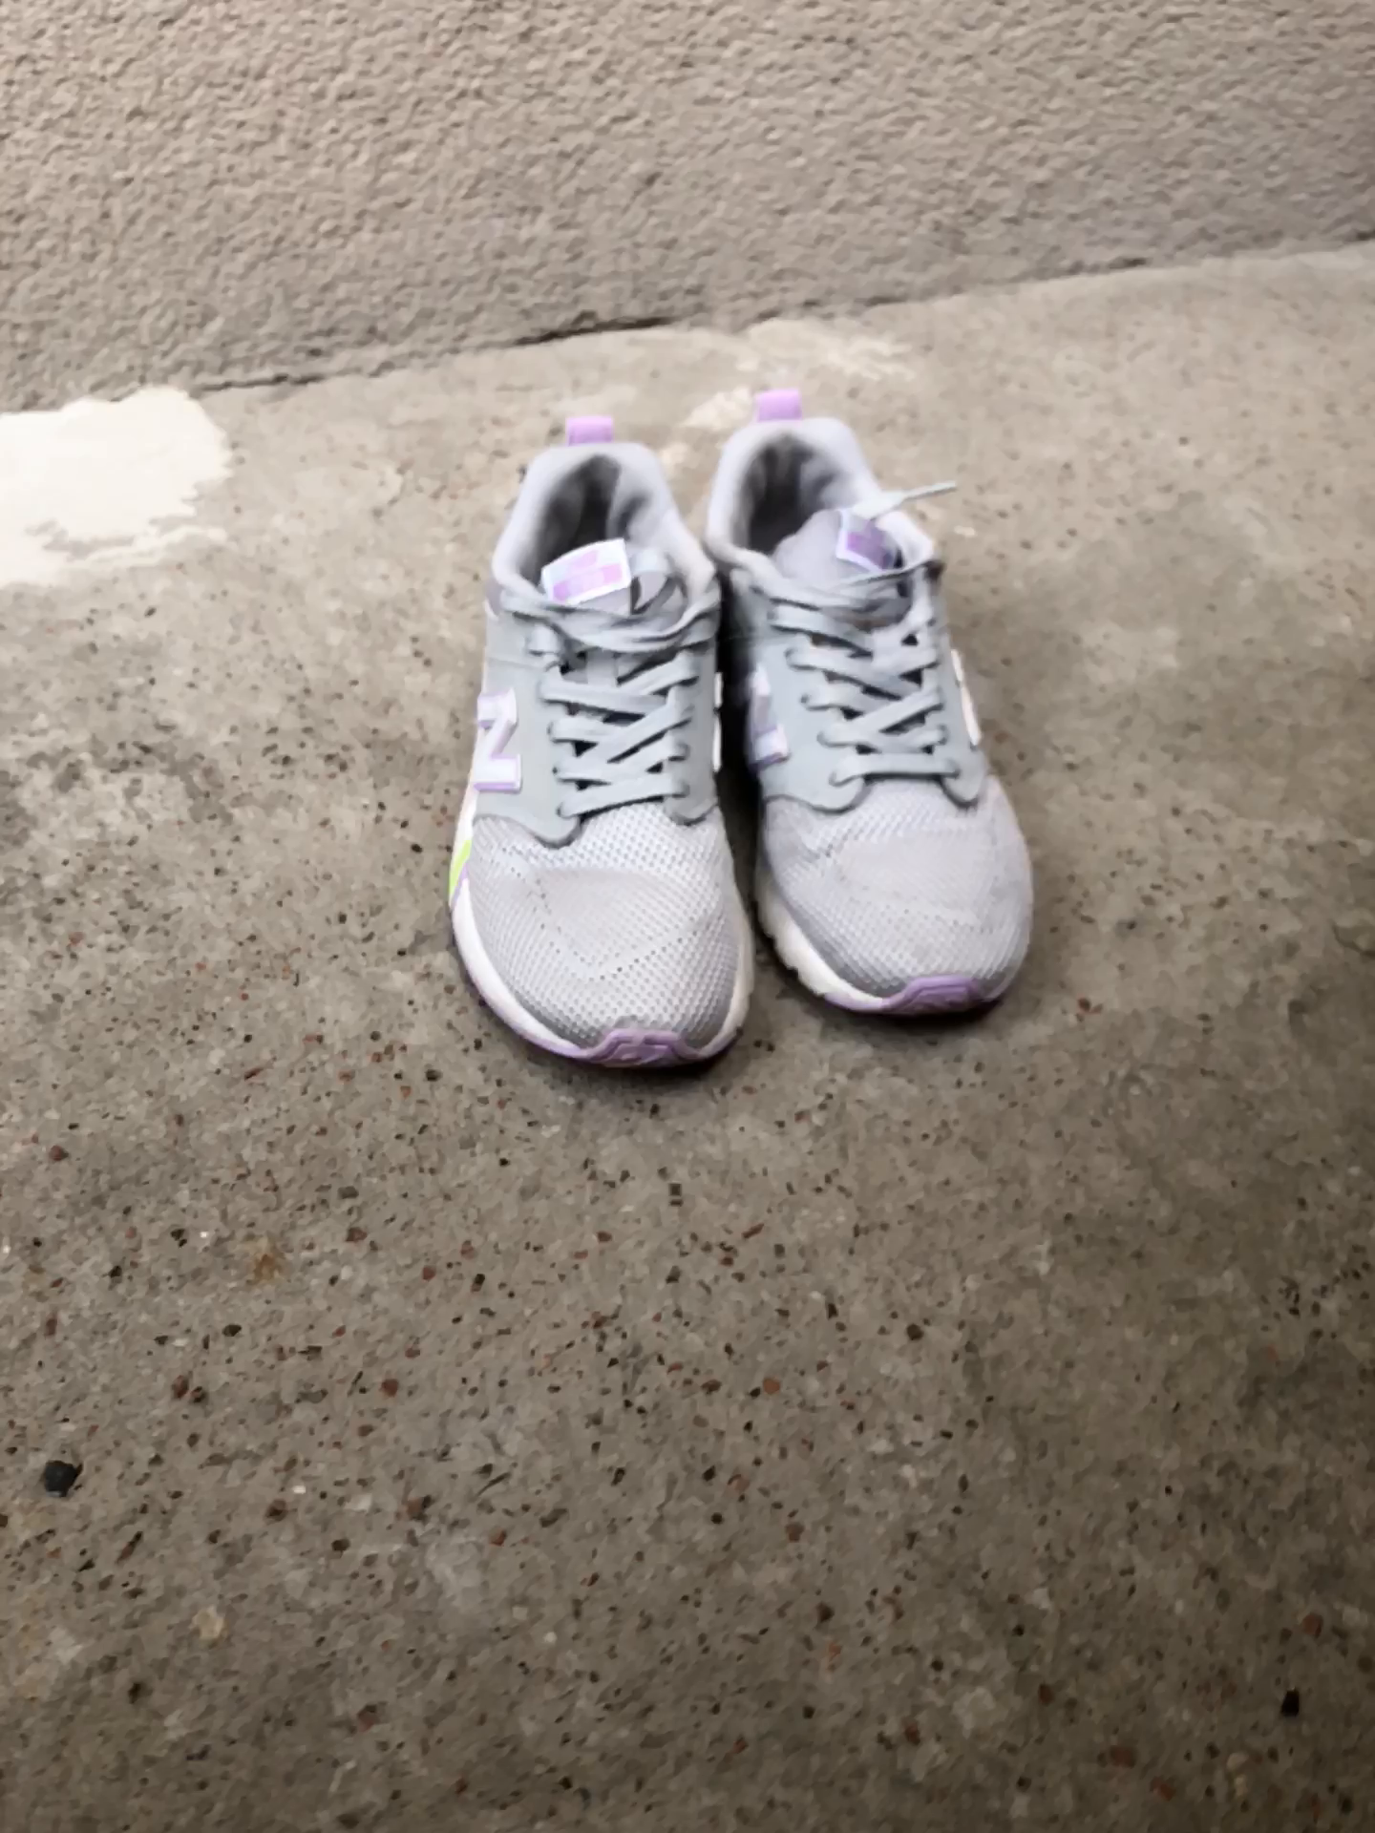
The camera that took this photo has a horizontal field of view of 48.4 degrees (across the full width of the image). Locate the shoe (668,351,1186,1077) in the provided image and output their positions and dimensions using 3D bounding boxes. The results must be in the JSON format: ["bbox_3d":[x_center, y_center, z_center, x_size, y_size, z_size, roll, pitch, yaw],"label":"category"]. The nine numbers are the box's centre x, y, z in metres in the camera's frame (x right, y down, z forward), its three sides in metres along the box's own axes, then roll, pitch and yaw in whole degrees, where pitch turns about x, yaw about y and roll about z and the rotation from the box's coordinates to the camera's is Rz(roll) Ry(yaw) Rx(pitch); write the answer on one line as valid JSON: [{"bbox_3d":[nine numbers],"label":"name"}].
[{"bbox_3d":[0.067,-0.087,0.557,0.110,0.099,0.272,-5,50,-7],"label":"shoe"}]

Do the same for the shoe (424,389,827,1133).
[{"bbox_3d":[-0.028,-0.069,0.543,0.110,0.099,0.272,-2,50,-4],"label":"shoe"}]
